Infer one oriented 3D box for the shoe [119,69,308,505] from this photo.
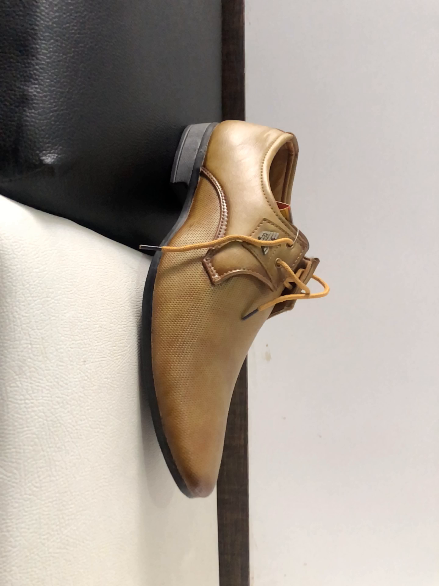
[{"bbox_3d":[0.012,-0.008,0.354,0.101,0.090,0.290,55,36,-63],"label":"shoe"}]
